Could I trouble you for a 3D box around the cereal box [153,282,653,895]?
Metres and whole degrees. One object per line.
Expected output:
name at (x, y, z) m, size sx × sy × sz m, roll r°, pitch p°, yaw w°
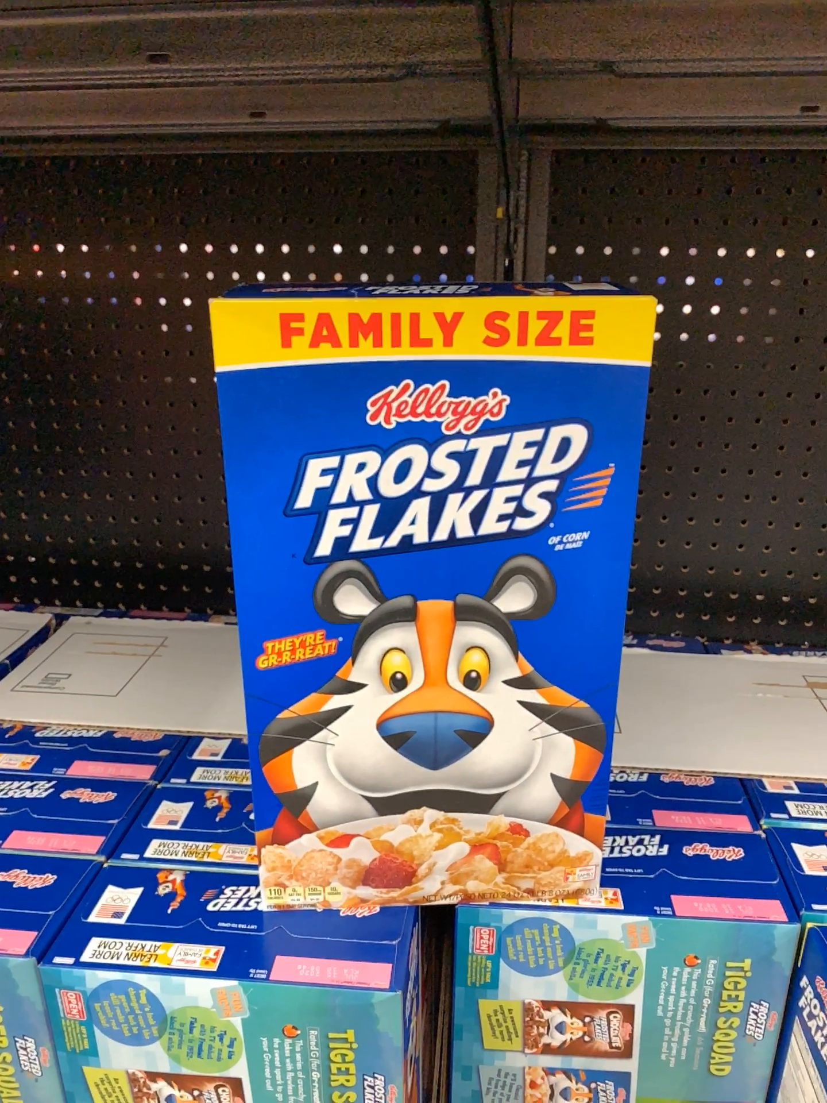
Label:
cereal box at (-0.005, 0.027, 0.453) m, size 0.210 × 0.319 × 0.080 m, roll 0°, pitch 21°, yaw -1°
